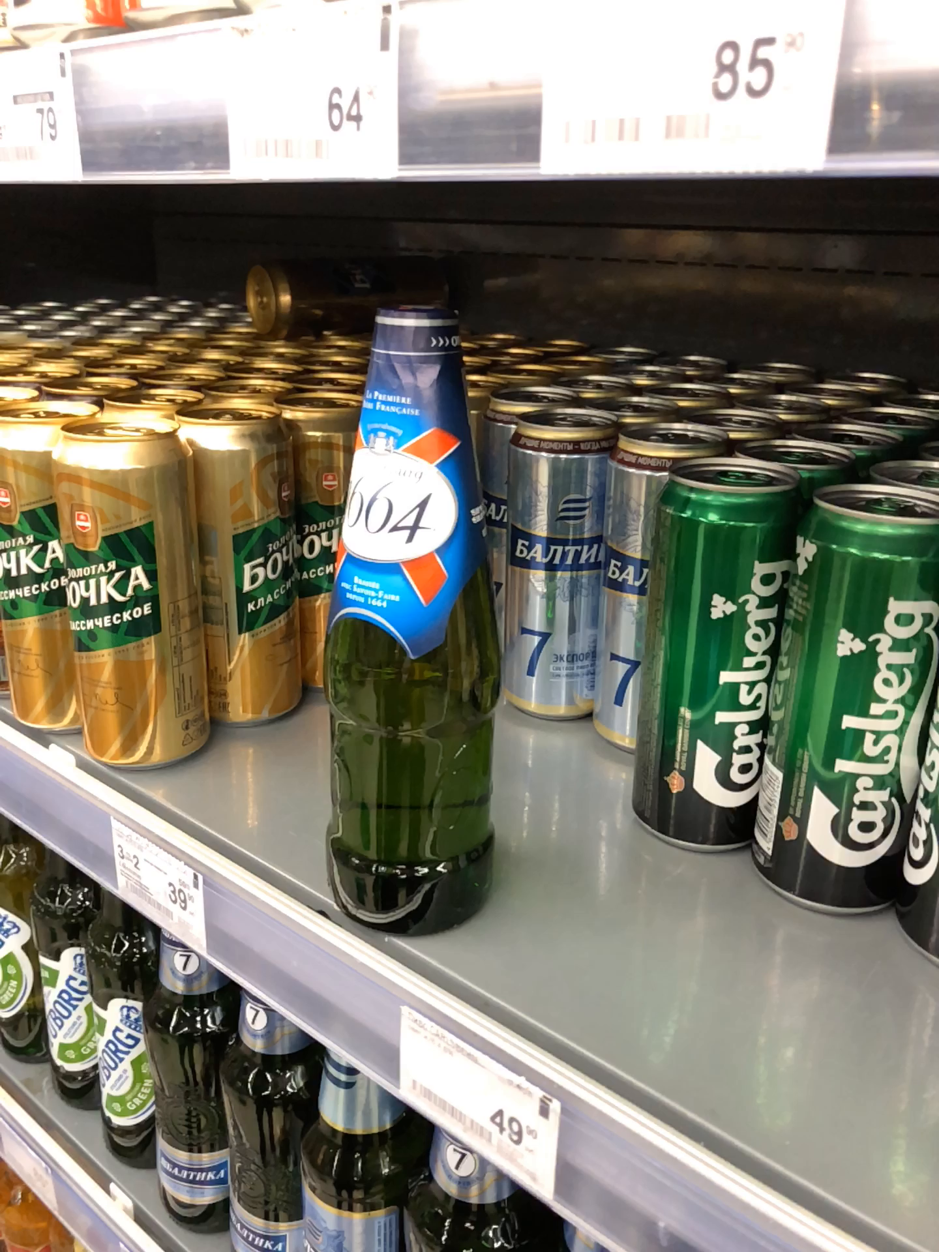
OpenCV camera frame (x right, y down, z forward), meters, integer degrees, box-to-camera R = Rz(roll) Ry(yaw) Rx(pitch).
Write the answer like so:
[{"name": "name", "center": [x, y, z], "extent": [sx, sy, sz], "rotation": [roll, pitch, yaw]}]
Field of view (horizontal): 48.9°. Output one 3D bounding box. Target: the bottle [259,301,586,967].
[{"name": "bottle", "center": [-0.018, -0.001, 0.396], "extent": [0.080, 0.229, 0.080], "rotation": [1, 21, -1]}]
